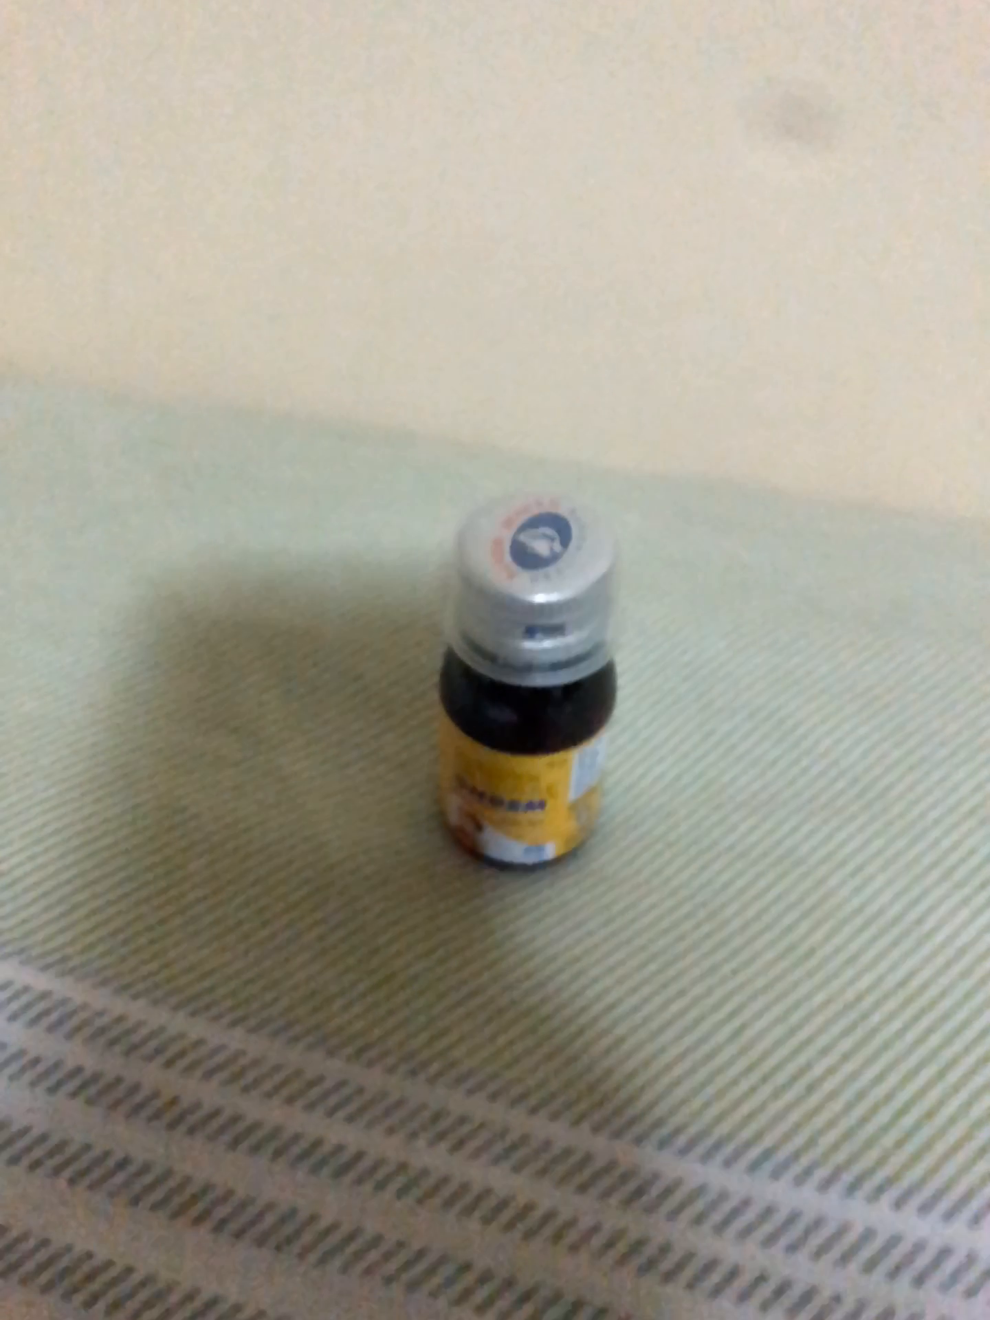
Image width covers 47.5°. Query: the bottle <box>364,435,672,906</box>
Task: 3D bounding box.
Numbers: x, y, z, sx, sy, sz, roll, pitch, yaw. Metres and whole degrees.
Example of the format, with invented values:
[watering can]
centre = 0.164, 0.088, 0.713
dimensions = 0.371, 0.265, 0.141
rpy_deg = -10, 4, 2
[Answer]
[bottle]
centre = 0.005, 0.004, 0.212
dimensions = 0.037, 0.076, 0.038
rpy_deg = -1, 47, 1
